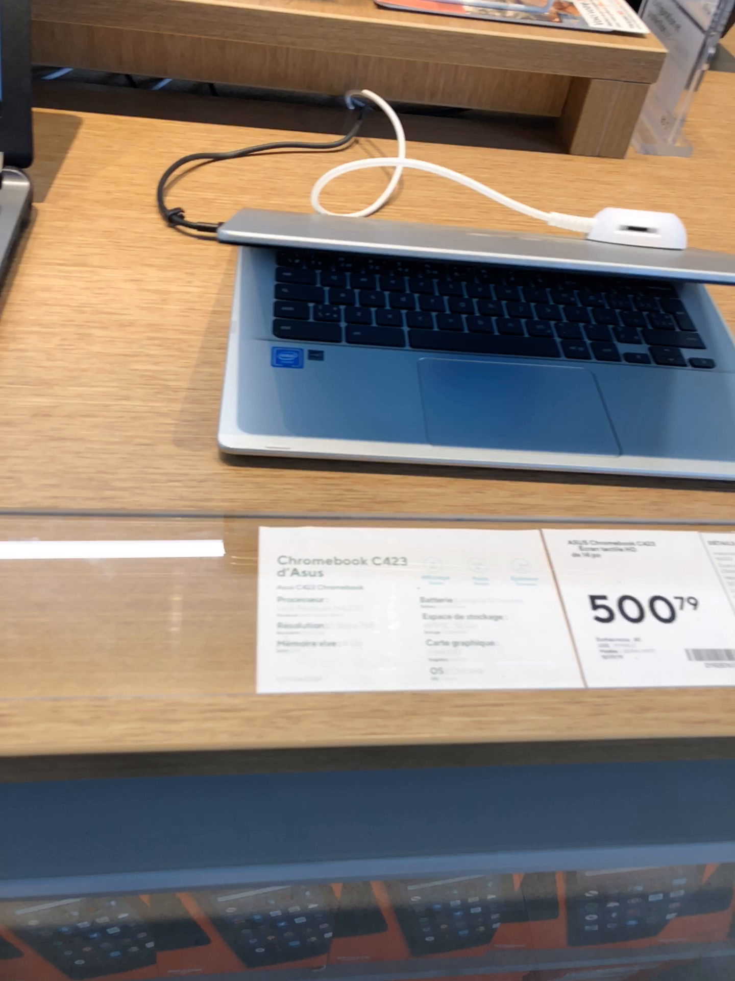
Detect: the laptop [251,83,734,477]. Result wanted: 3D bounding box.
[{"bbox_3d":[0.095,-0.121,0.452,0.304,0.080,0.206,4,49,-9],"label":"laptop"}]
